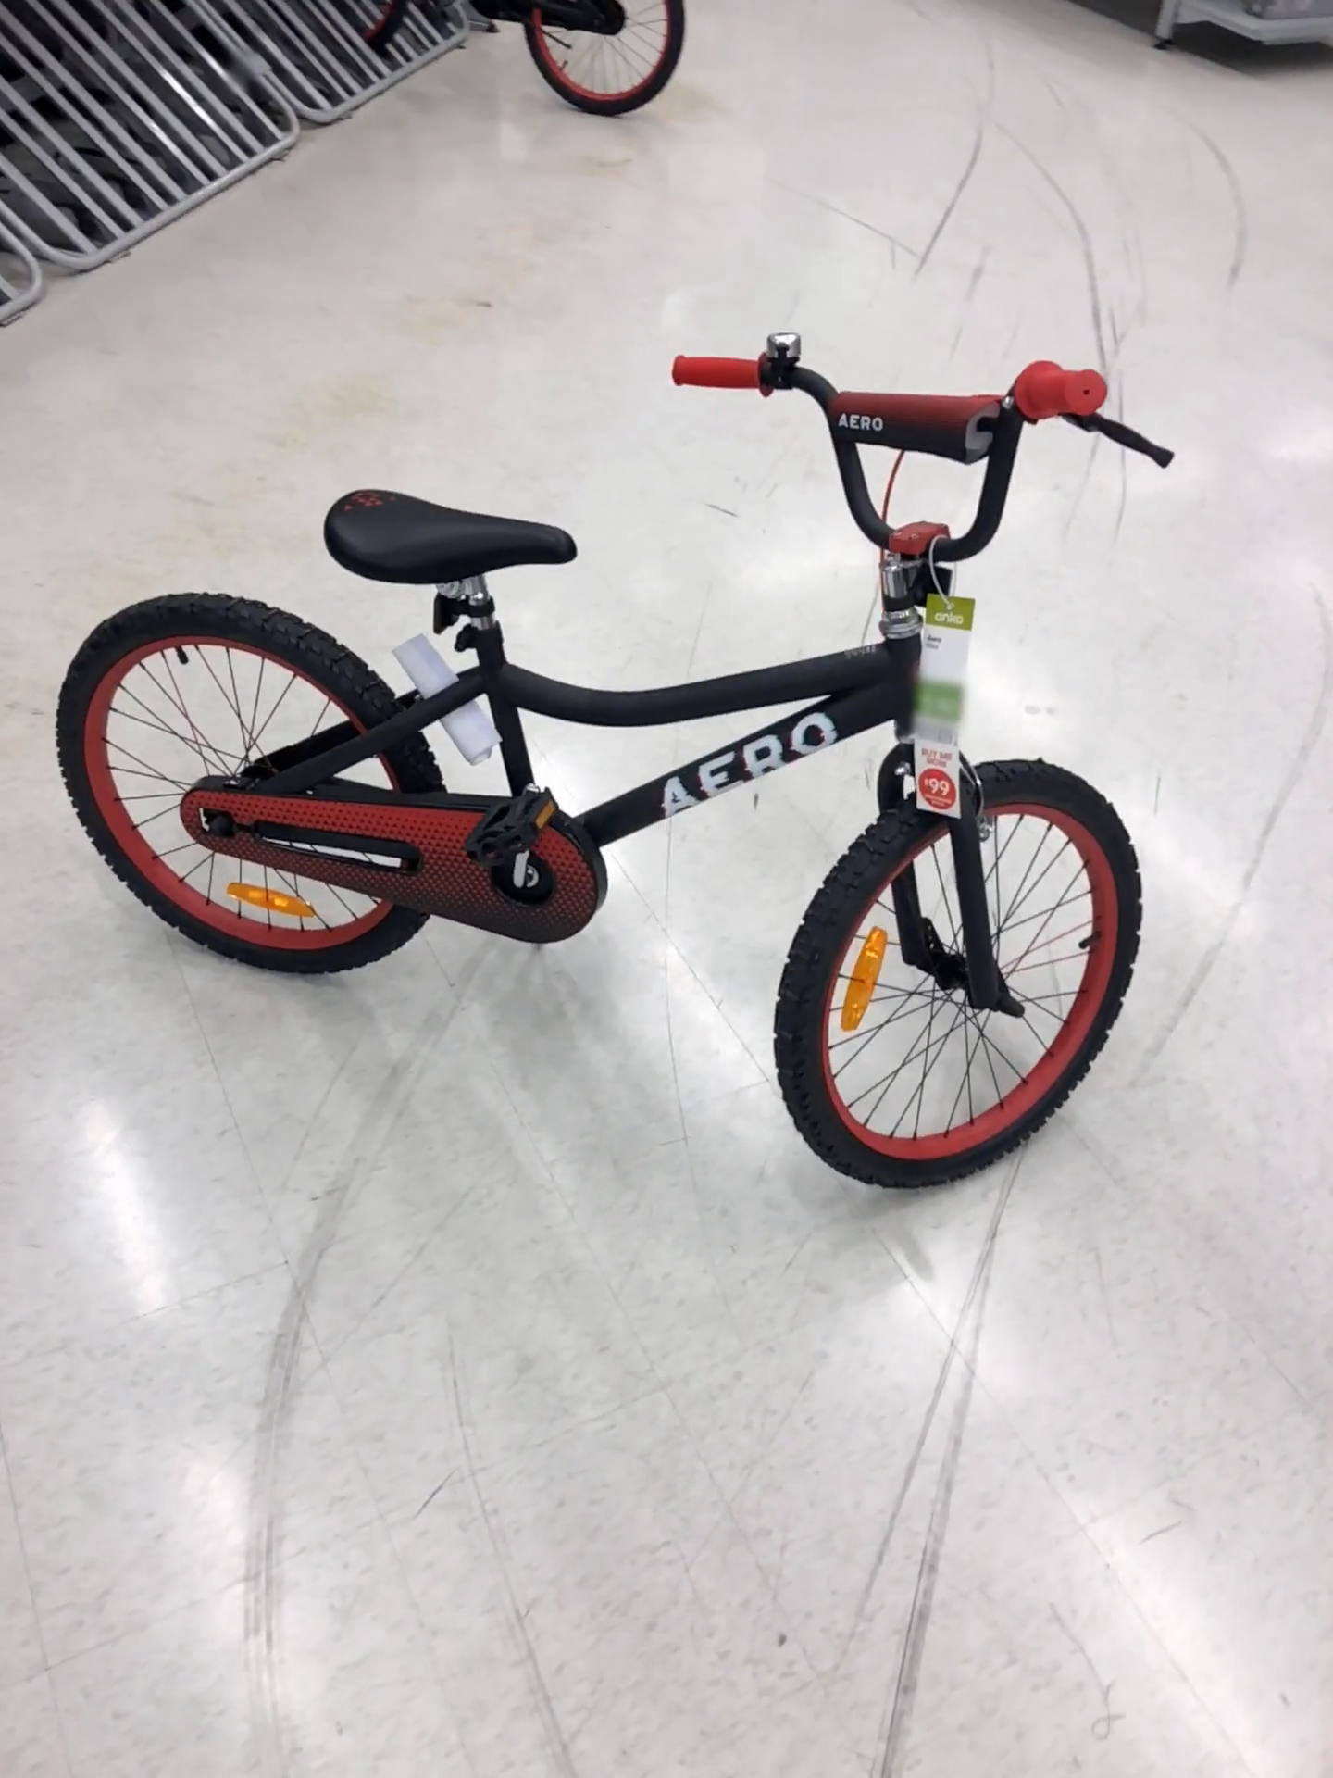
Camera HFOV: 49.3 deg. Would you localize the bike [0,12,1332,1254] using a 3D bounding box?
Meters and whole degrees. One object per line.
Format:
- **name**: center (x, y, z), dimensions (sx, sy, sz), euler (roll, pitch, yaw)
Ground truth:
- **bike**: center (-0.056, -0.238, 1.516), dimensions (1.246, 0.924, 0.628), euler (9, 44, 3)
